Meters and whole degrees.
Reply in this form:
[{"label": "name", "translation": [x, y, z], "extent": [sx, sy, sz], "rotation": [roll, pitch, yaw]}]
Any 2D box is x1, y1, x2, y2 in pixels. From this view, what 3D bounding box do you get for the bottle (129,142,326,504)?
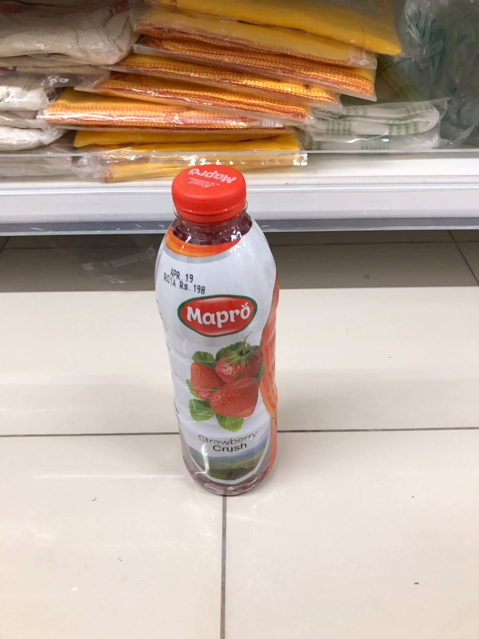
[{"label": "bottle", "translation": [-0.004, 0.020, 0.354], "extent": [0.090, 0.248, 0.081], "rotation": [-2, 41, 0]}]
